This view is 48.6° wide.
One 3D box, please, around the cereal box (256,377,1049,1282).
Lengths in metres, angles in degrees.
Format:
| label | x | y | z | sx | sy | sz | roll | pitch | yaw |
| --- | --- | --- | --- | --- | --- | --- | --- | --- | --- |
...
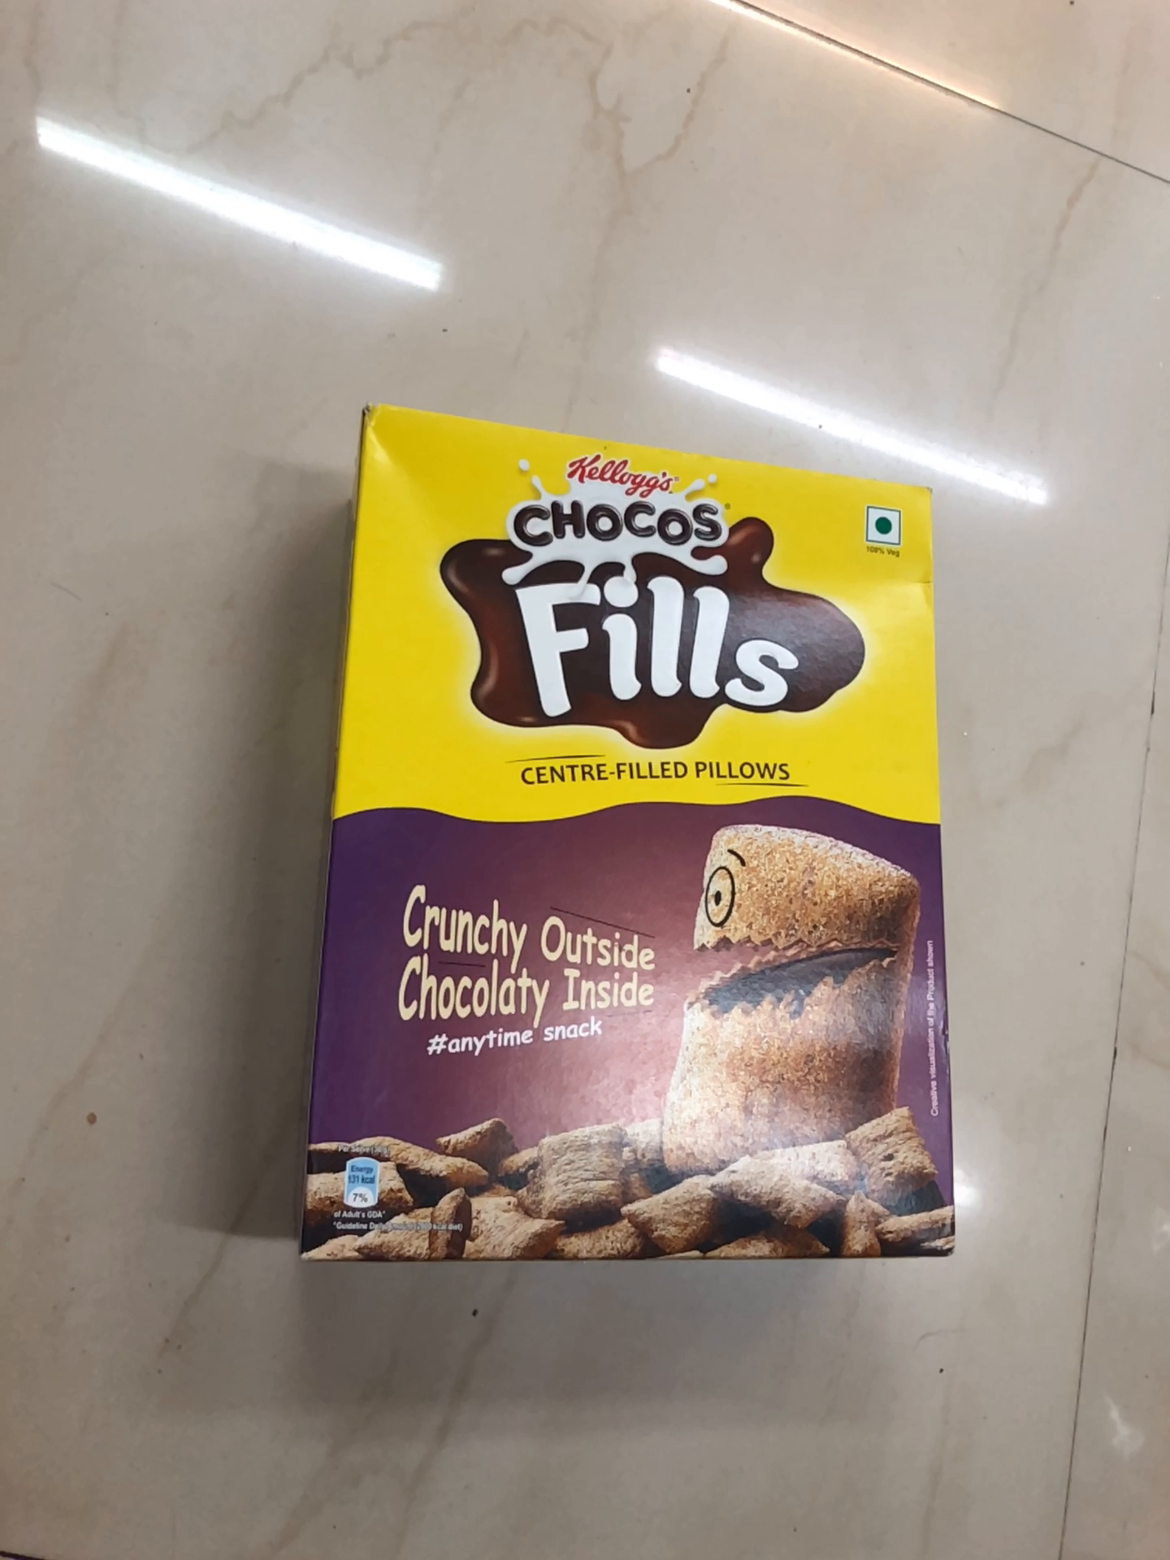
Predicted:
| label | x | y | z | sx | sy | sz | roll | pitch | yaw |
| --- | --- | --- | --- | --- | --- | --- | --- | --- | --- |
| cereal box | 0.017 | 0.018 | 0.378 | 0.200 | 0.070 | 0.230 | 5 | 74 | -14 |
